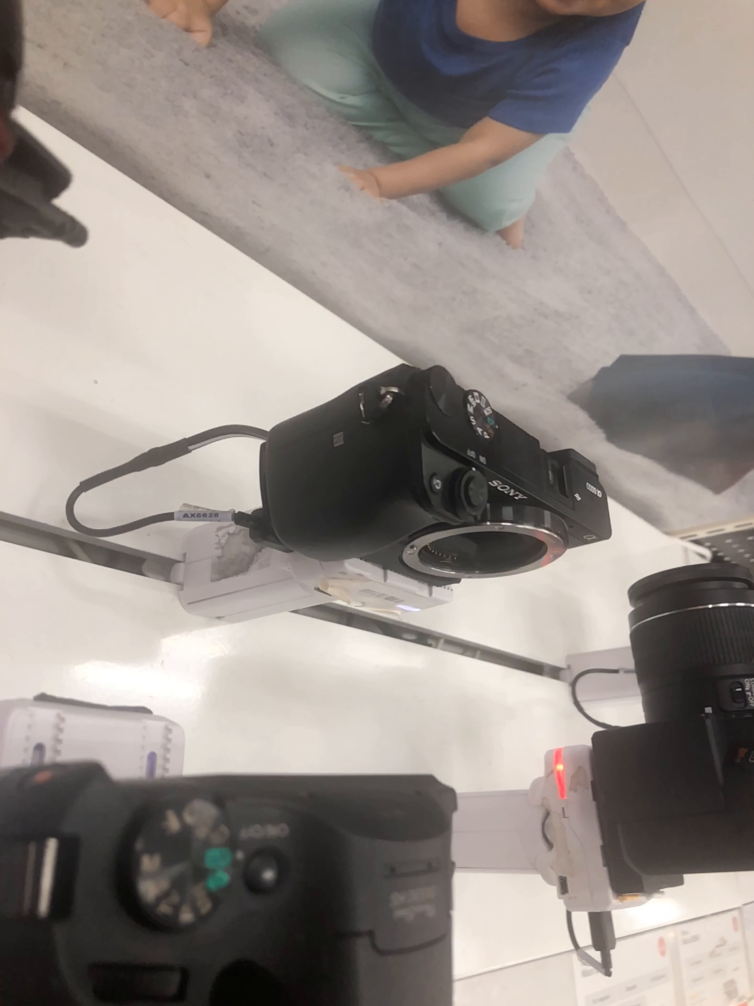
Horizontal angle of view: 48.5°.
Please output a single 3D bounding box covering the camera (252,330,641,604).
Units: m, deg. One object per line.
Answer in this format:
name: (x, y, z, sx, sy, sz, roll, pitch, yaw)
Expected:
camera: (0.027, -0.003, 0.277, 0.121, 0.070, 0.040, 21, 57, -49)
